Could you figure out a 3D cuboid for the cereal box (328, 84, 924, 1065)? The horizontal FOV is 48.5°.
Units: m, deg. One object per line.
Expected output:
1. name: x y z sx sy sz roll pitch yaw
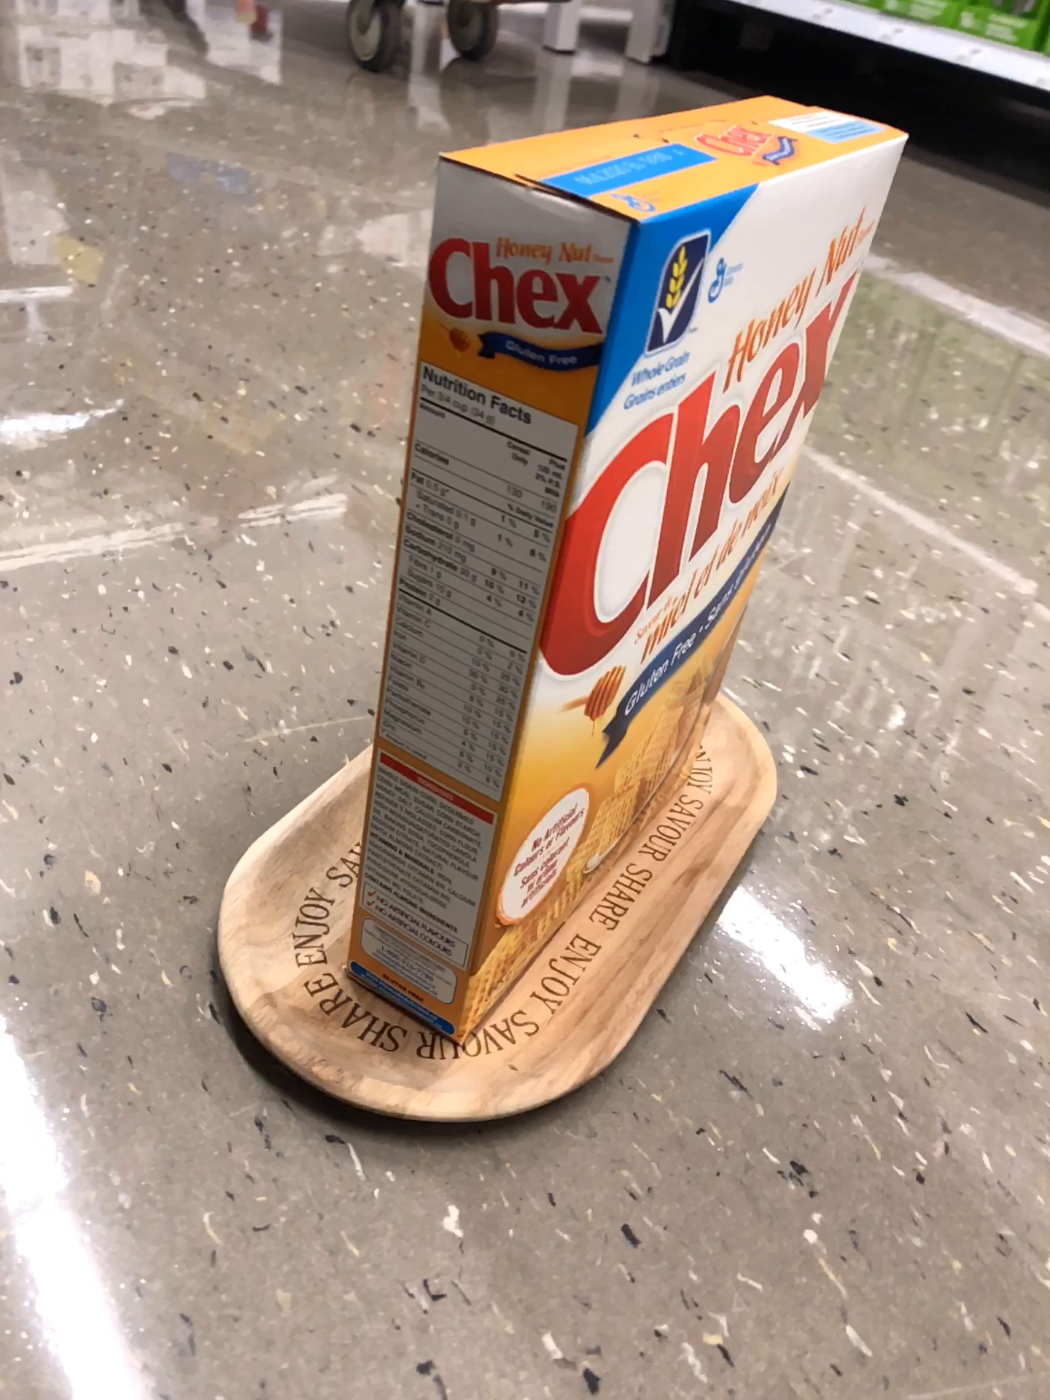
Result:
1. cereal box: 0.031 -0.046 0.402 0.060 0.279 0.211 27 39 20
